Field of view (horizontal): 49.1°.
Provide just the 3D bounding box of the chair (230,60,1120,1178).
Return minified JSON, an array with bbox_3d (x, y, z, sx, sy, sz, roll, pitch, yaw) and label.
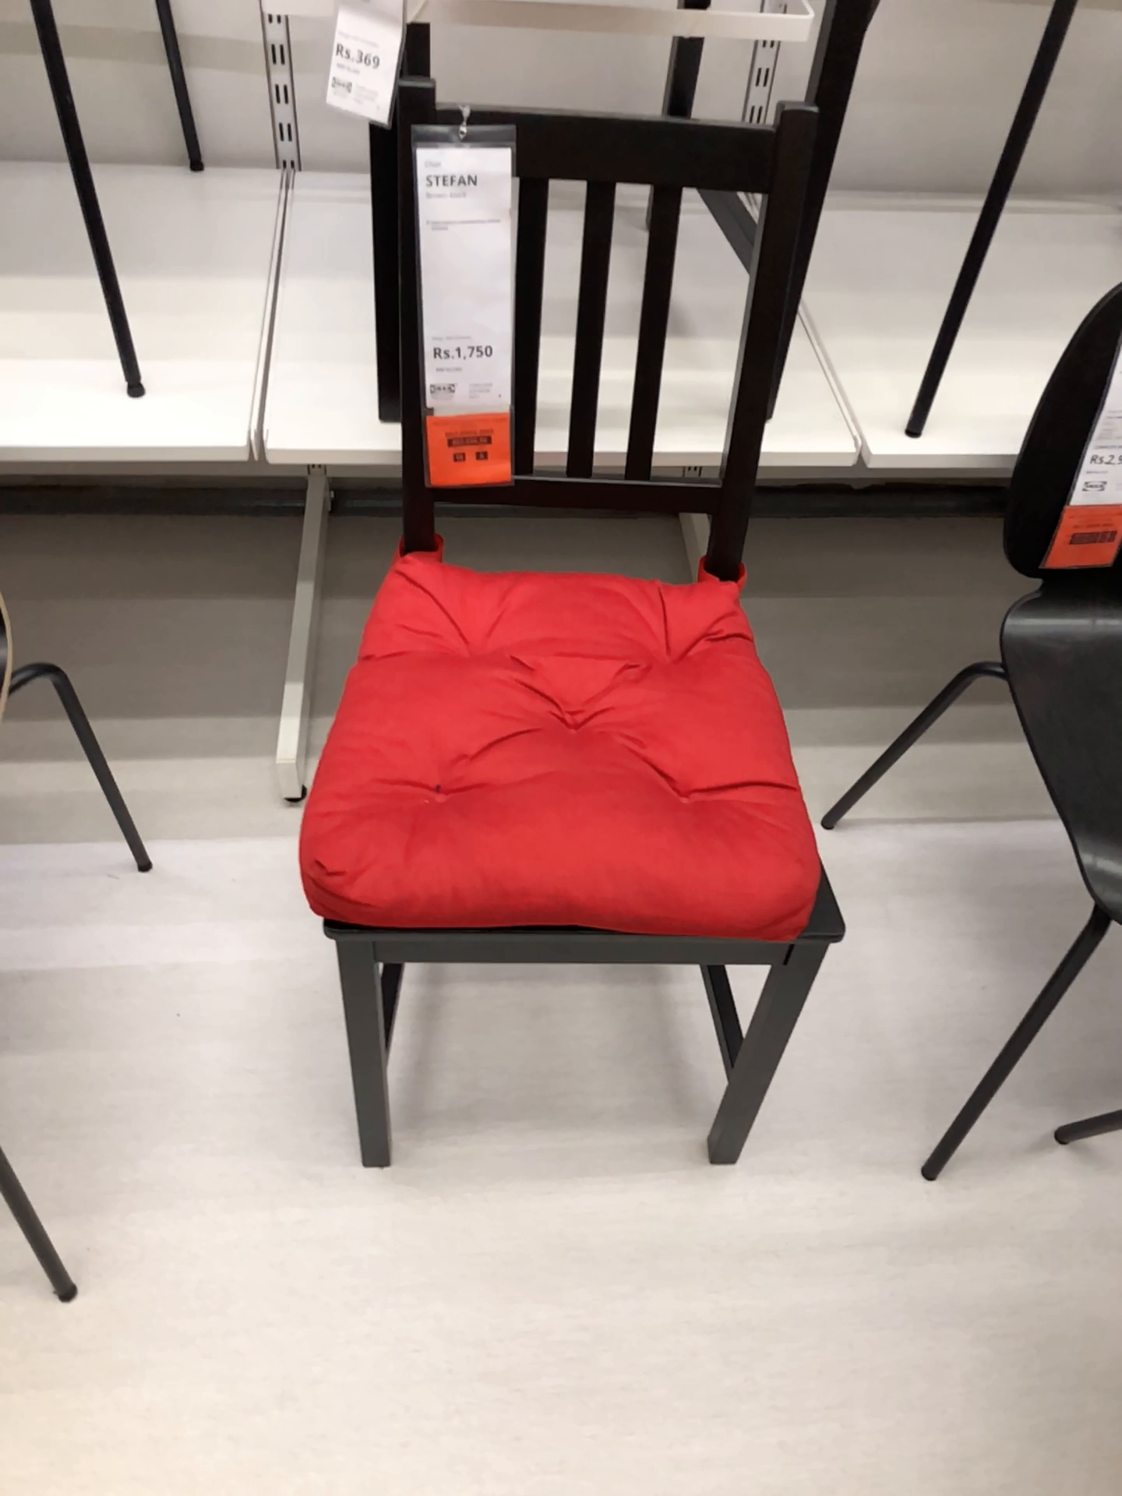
[{"bbox_3d":[0.022,-0.038,1.057,0.430,0.835,0.483,1,48,-5],"label":"chair"}]
